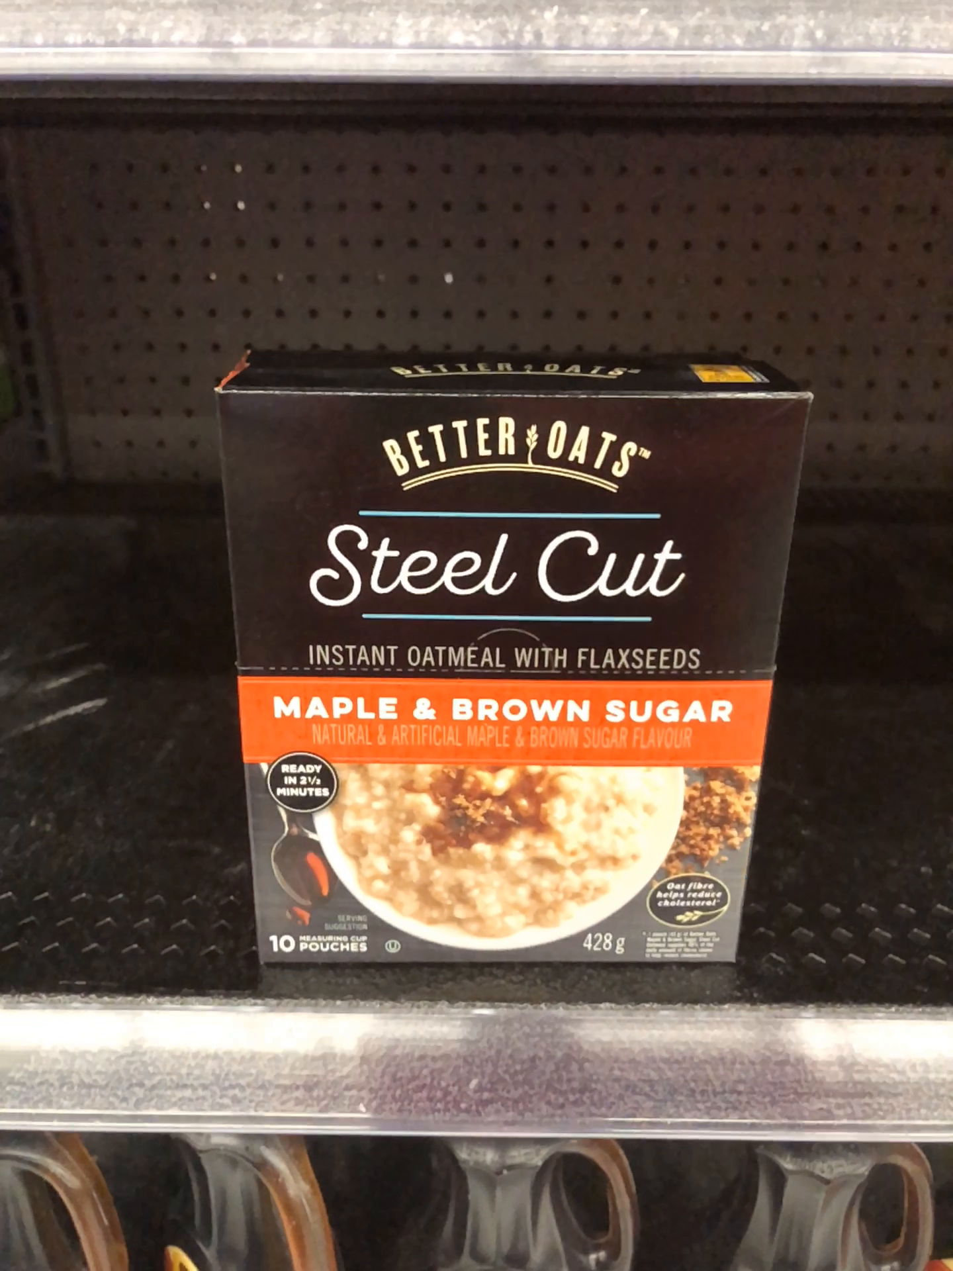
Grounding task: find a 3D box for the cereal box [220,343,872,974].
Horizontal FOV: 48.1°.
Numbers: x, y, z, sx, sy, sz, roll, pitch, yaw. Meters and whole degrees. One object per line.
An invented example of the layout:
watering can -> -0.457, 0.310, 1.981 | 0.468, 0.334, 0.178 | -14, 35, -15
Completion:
cereal box -> 0.016, 0.008, 0.329 | 0.160, 0.179, 0.070 | 0, 23, -2
